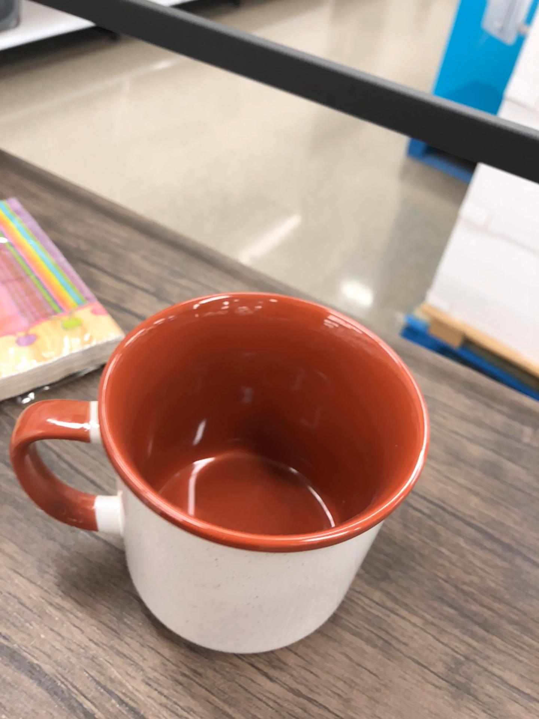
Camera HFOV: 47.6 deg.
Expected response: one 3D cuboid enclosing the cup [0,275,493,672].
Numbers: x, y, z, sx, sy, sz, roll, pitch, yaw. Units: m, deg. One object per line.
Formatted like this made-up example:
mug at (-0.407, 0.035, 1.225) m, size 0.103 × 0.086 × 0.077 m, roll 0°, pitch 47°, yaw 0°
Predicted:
cup at (-0.021, 0.041, 0.231) m, size 0.150 × 0.090 × 0.110 m, roll 2°, pitch 45°, yaw -7°
